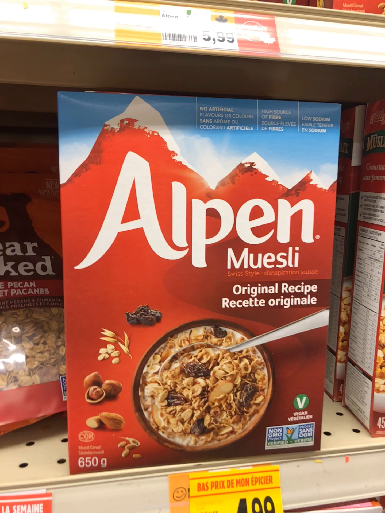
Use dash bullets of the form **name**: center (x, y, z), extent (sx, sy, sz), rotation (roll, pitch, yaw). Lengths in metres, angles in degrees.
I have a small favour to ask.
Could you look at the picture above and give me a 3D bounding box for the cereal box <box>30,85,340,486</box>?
- **cereal box**: center (-0.006, 0.019, 0.293), extent (0.180, 0.239, 0.060), rotation (-1, 10, -11)
